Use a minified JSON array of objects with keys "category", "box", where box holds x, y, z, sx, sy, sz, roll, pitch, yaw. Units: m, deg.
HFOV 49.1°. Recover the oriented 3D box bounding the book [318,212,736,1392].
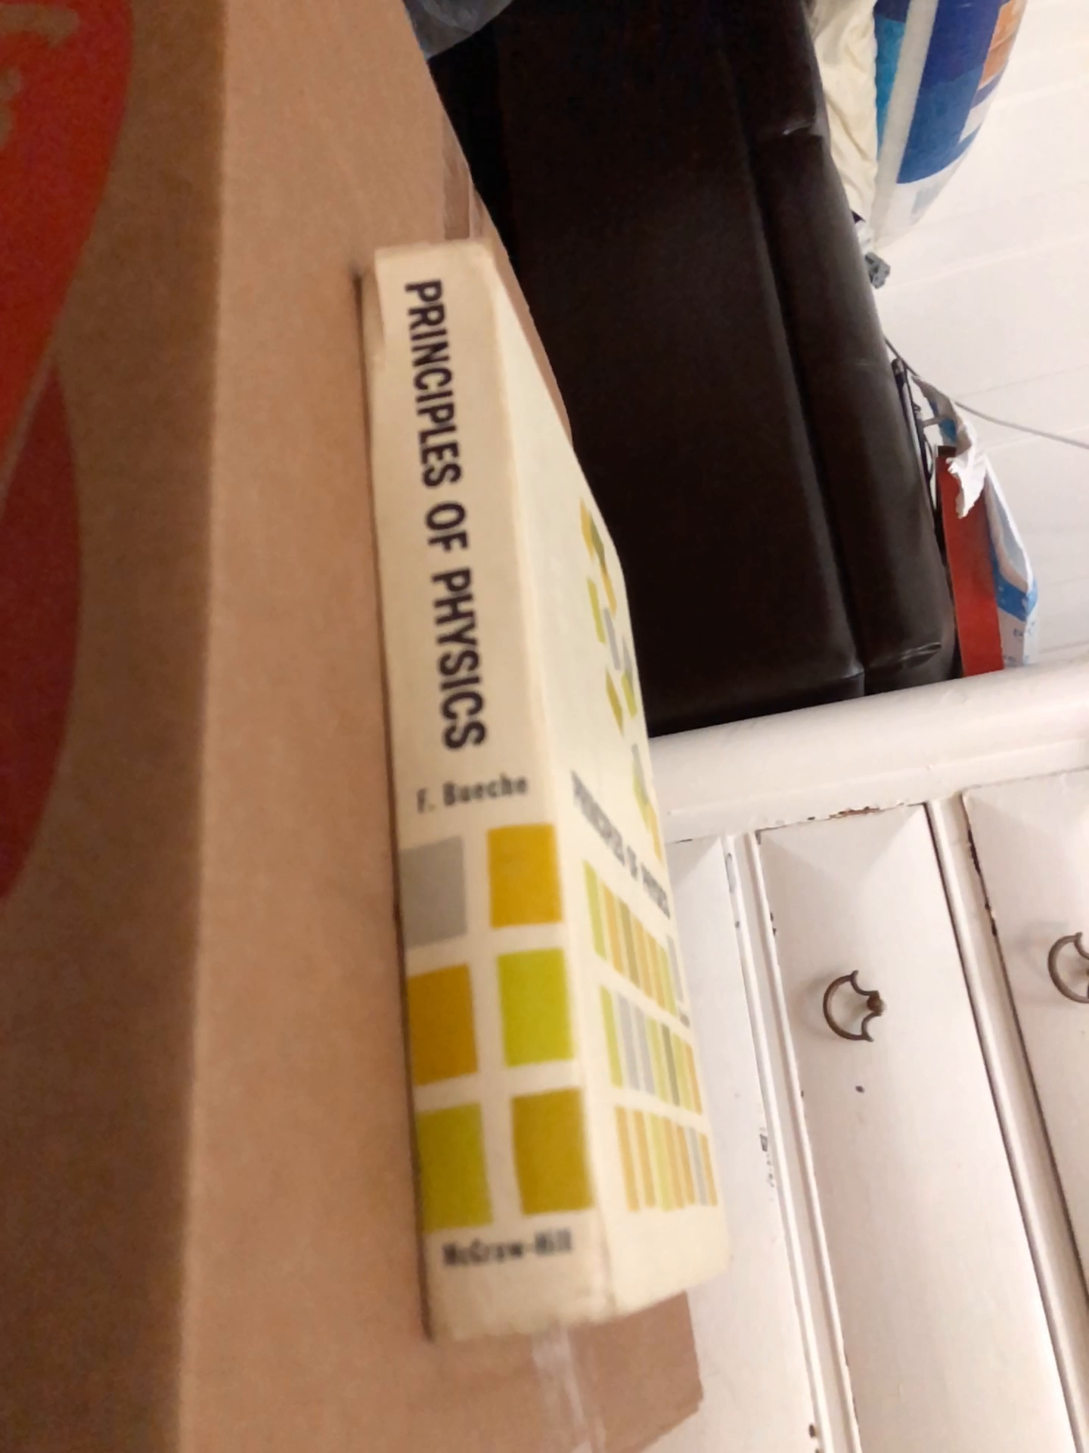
[{"category":"book","box":[0.000,0.025,0.325,0.180,0.040,0.250,53,28,-63]}]
